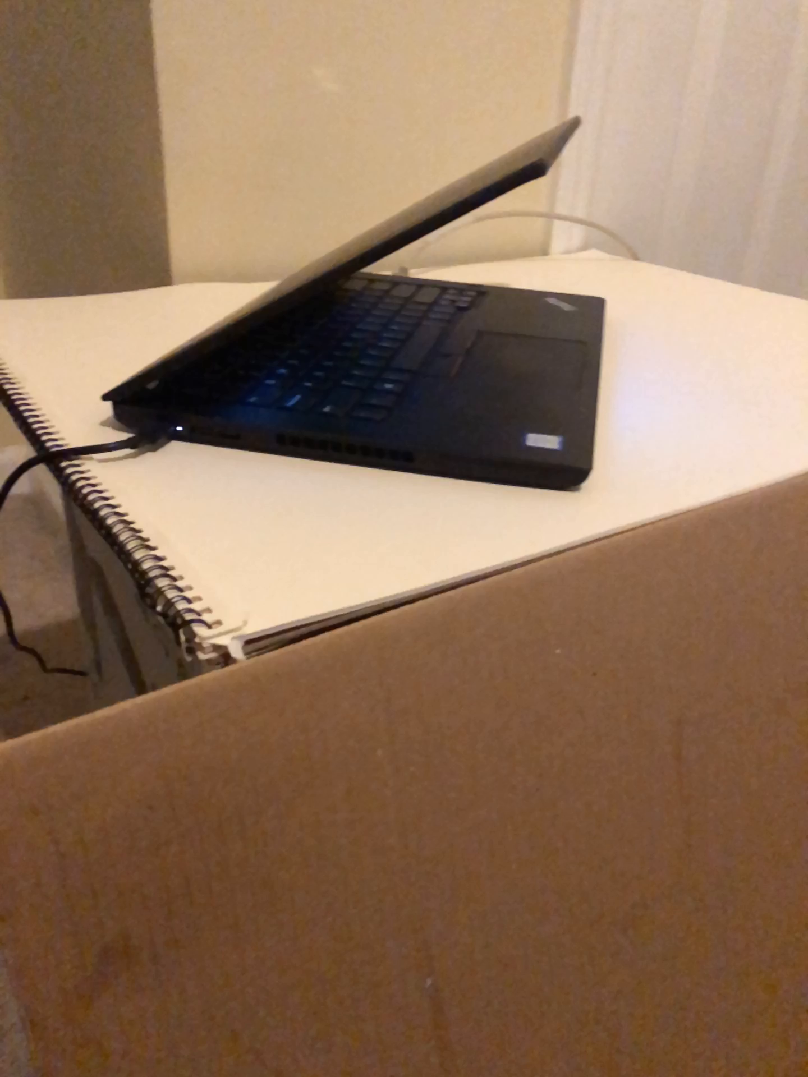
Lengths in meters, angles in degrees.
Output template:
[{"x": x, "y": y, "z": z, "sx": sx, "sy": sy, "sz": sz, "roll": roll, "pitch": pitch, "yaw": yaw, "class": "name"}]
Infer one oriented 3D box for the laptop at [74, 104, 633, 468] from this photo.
[{"x": 0.006, "y": -0.172, "z": 0.510, "sx": 0.226, "sy": 0.115, "sz": 0.319, "roll": 8, "pitch": 29, "yaw": 10, "class": "laptop"}]
